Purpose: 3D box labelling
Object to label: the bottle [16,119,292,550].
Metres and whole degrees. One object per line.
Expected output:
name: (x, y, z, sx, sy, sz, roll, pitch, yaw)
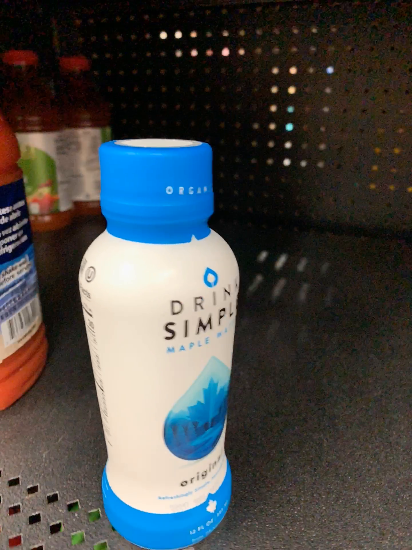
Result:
bottle: (-0.018, 0.027, 0.184, 0.070, 0.169, 0.066, 0, 23, 0)
